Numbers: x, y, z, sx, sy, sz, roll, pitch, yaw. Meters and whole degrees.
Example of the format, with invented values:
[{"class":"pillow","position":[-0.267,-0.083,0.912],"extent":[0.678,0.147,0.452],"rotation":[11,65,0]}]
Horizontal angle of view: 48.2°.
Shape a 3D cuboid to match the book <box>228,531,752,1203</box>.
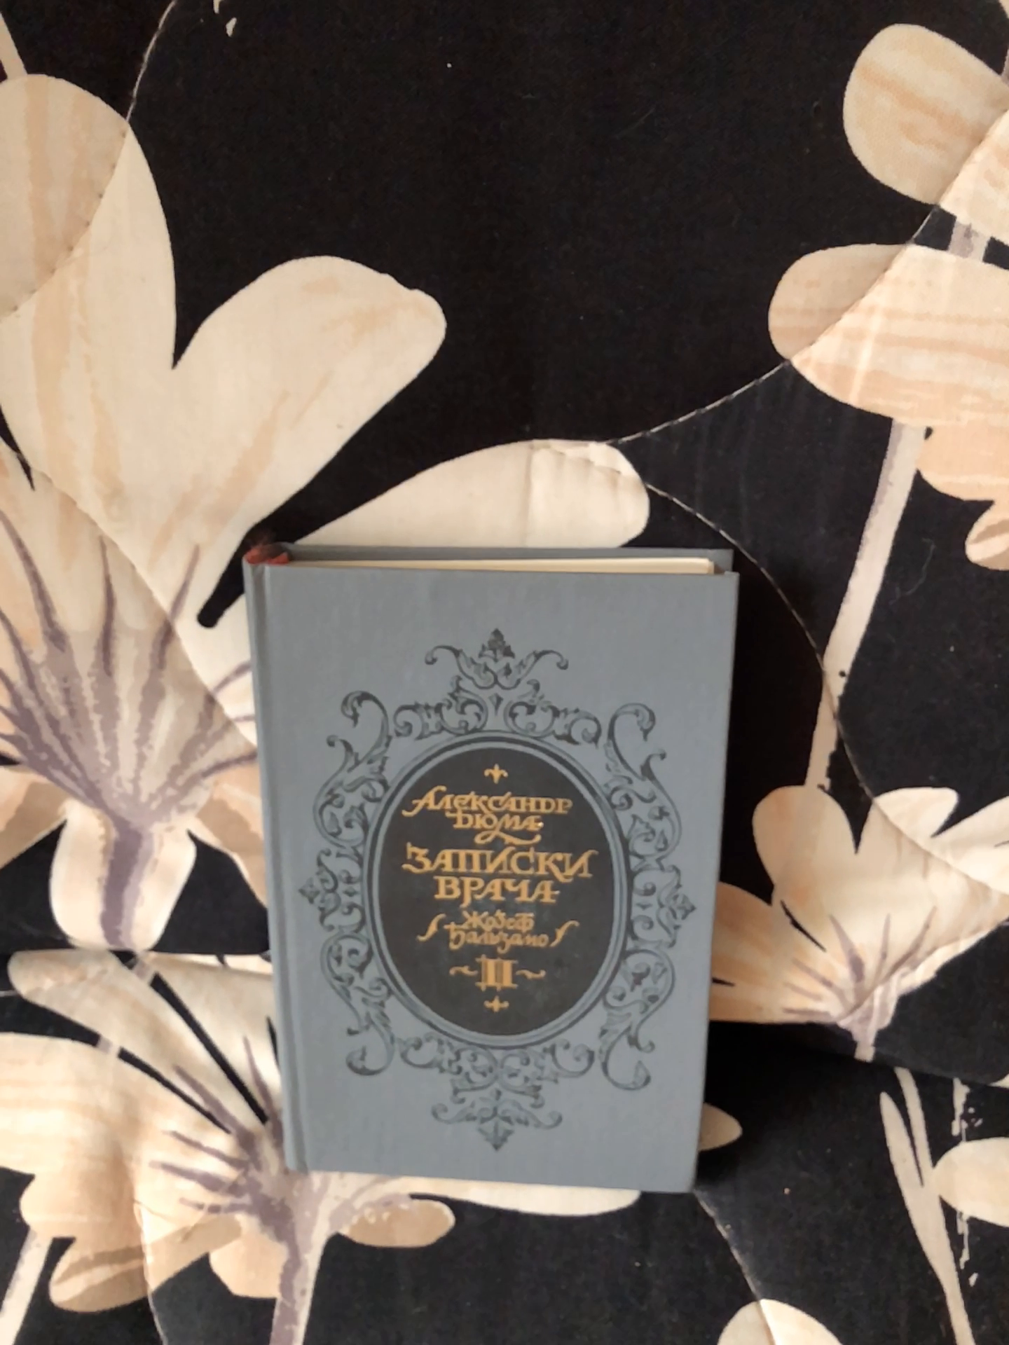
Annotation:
[{"class":"book","position":[-0.005,0.065,0.348],"extent":[0.140,0.030,0.210],"rotation":[2,109,3]}]
